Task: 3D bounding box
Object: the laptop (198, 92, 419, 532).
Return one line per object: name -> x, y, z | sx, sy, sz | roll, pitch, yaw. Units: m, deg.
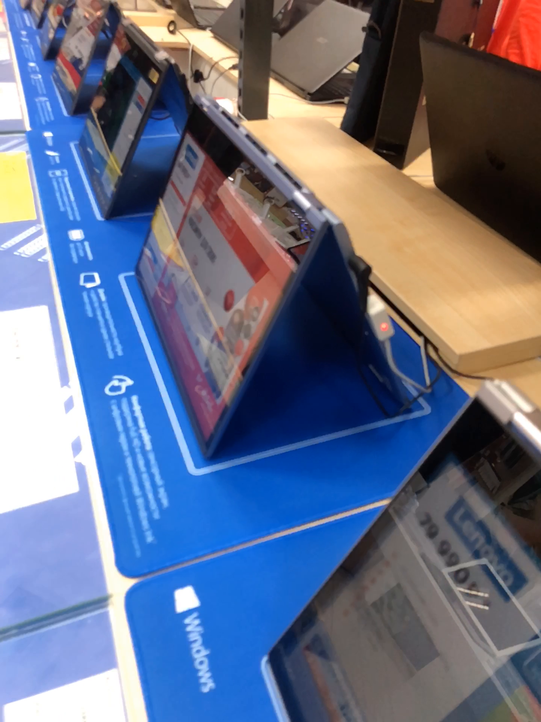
laptop -> 0.030, -0.042, 0.660 | 0.221, 0.157, 0.307 | 24, 23, -41
